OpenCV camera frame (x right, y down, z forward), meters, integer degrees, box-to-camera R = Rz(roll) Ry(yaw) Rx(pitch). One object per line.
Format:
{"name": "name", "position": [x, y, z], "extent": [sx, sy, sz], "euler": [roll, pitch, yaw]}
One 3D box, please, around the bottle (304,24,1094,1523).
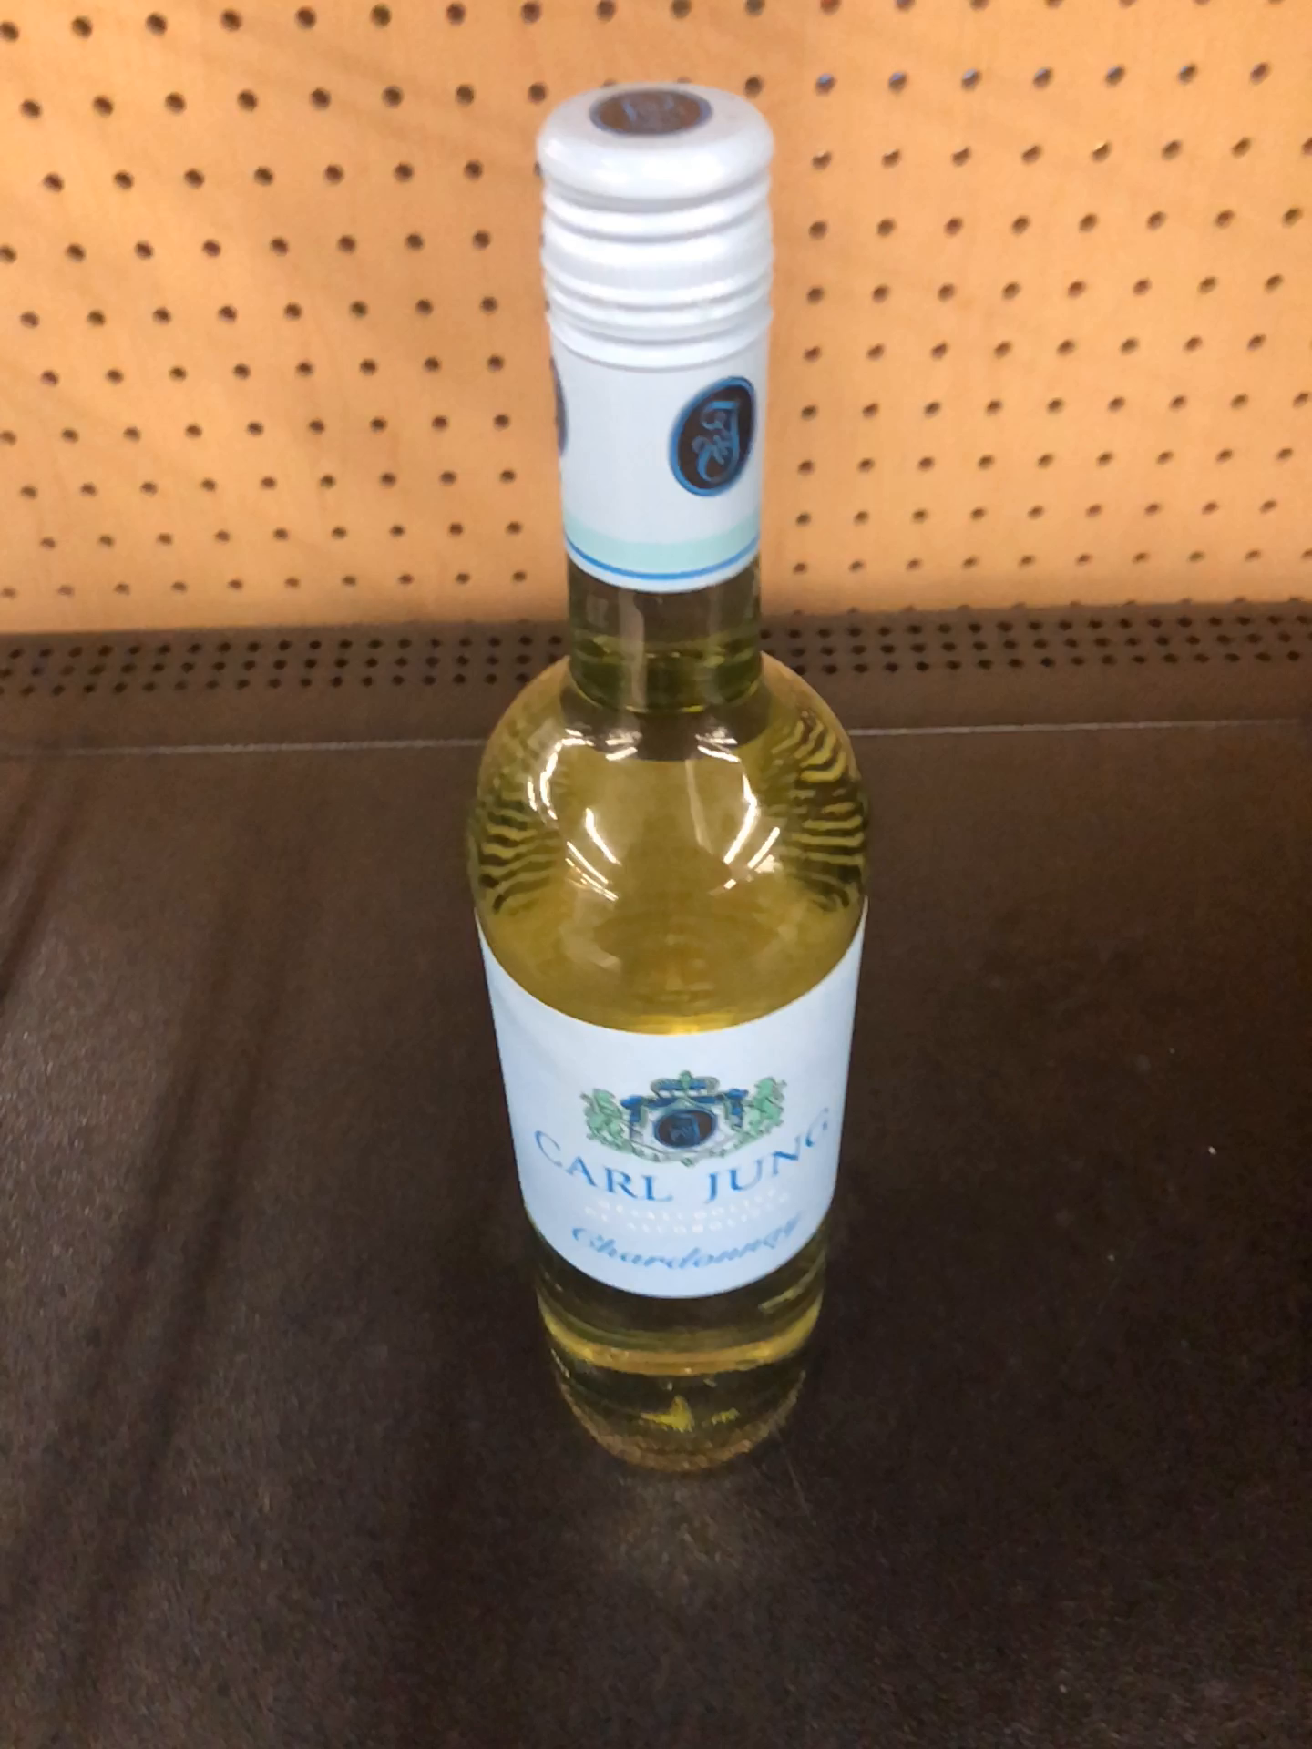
{"name": "bottle", "position": [0.005, 0.023, 0.288], "extent": [0.080, 0.318, 0.081], "euler": [-1, 46, 1]}
